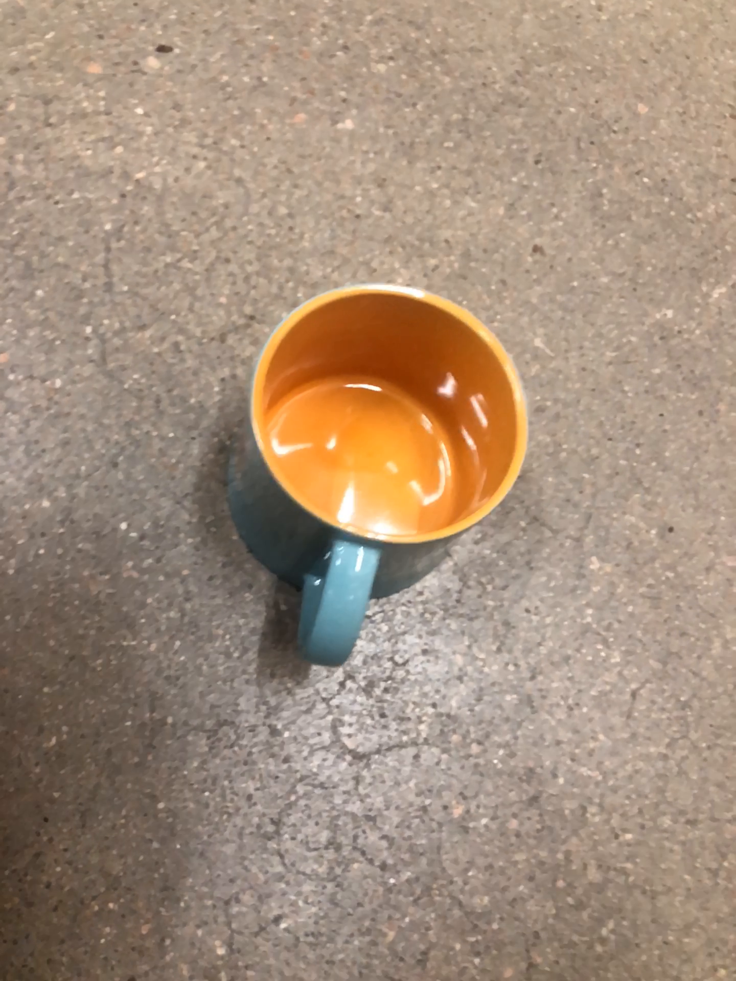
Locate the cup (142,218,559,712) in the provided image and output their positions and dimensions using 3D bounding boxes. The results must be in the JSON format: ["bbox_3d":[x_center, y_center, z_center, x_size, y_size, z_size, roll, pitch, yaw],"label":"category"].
[{"bbox_3d":[-0.007,-0.001,0.314,0.107,0.097,0.143,17,71,-6],"label":"cup"}]
